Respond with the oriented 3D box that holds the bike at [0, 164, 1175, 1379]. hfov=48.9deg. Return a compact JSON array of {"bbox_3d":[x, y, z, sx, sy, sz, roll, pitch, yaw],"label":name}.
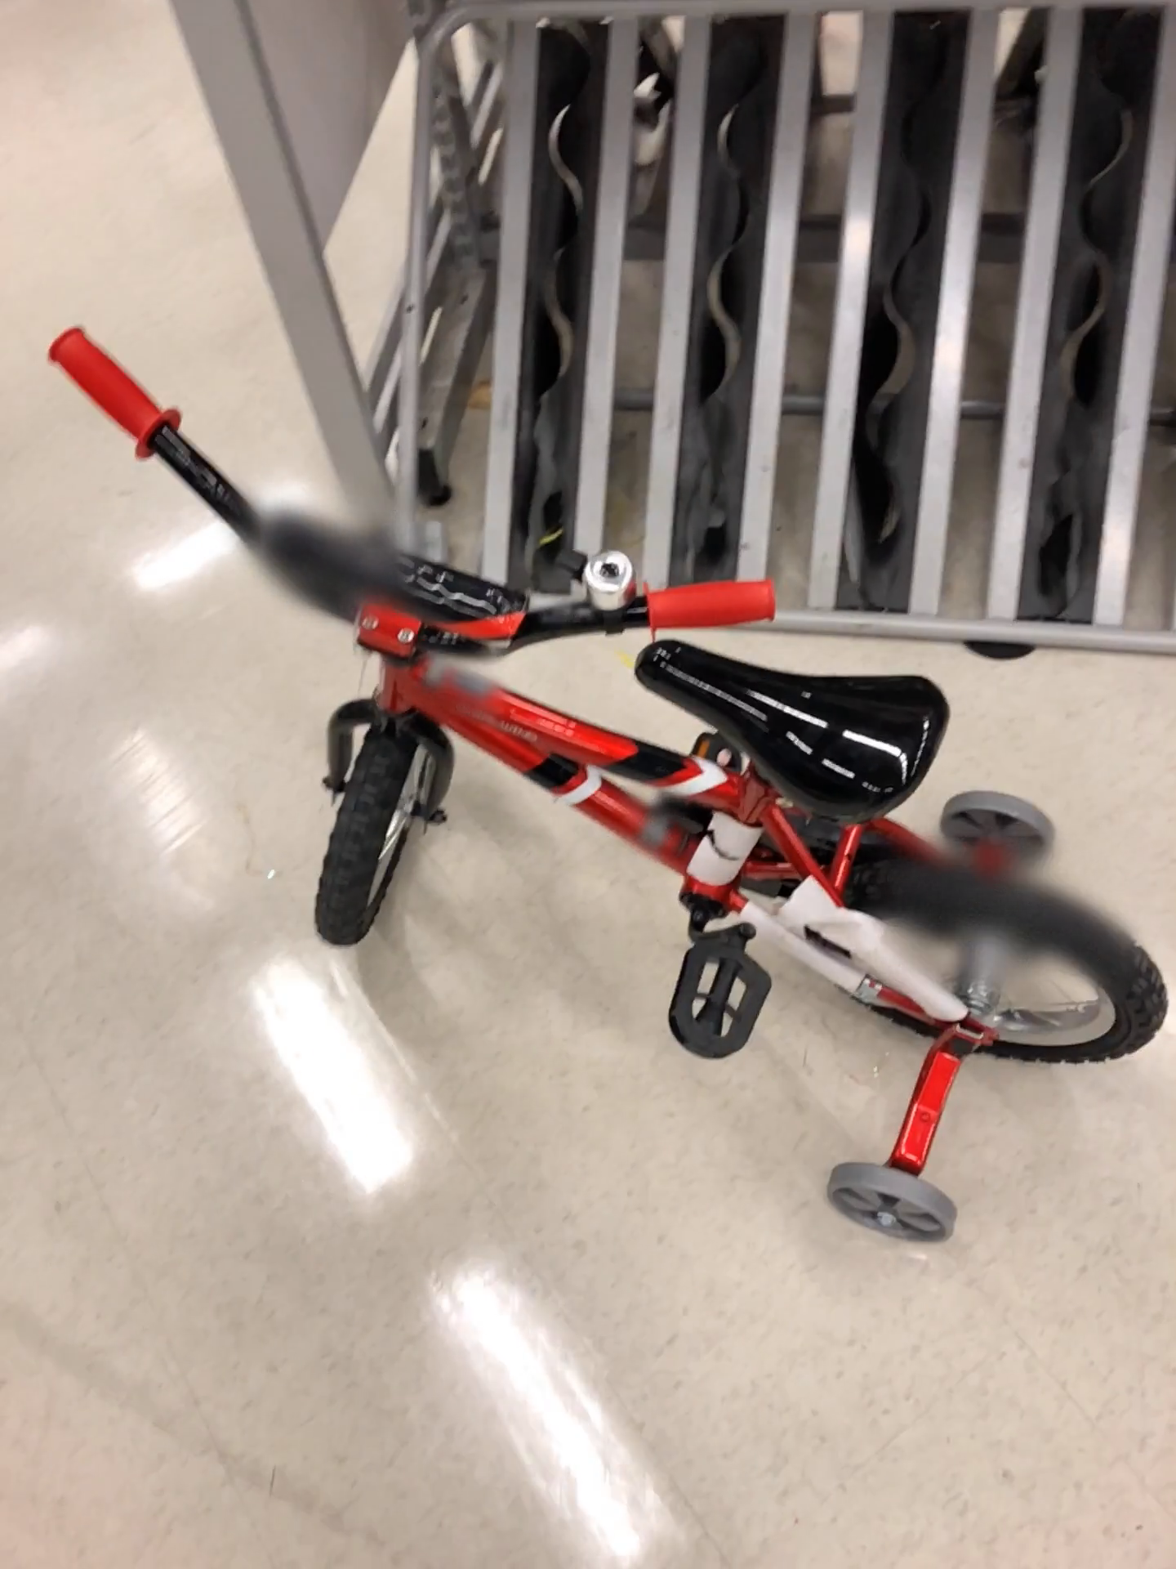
[{"bbox_3d":[0.094,0.028,0.947,0.699,0.678,0.533,7,57,11],"label":"bike"}]
